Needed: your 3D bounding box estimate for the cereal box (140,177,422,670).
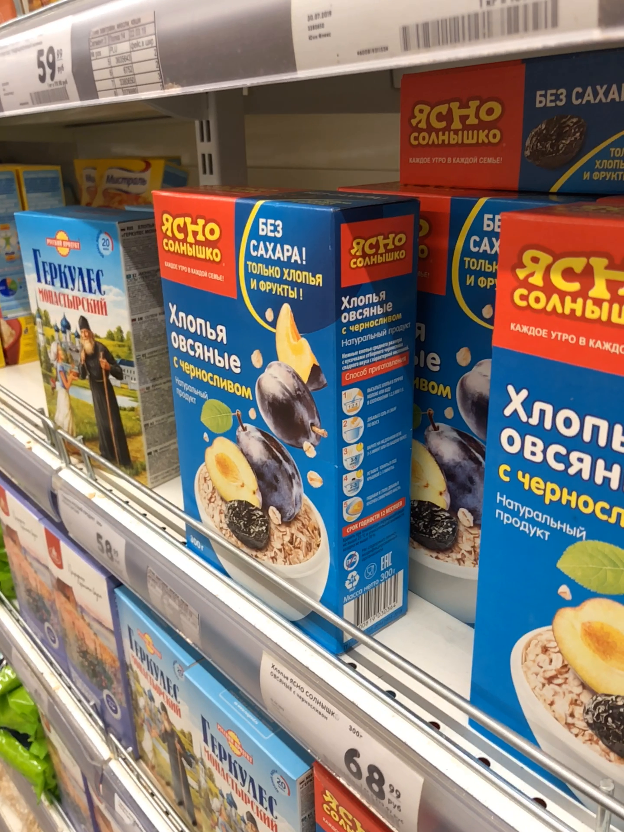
[{"bbox_3d":[-0.018,-0.006,0.344,0.050,0.209,0.140,-18,27,-37],"label":"cereal box"}]
